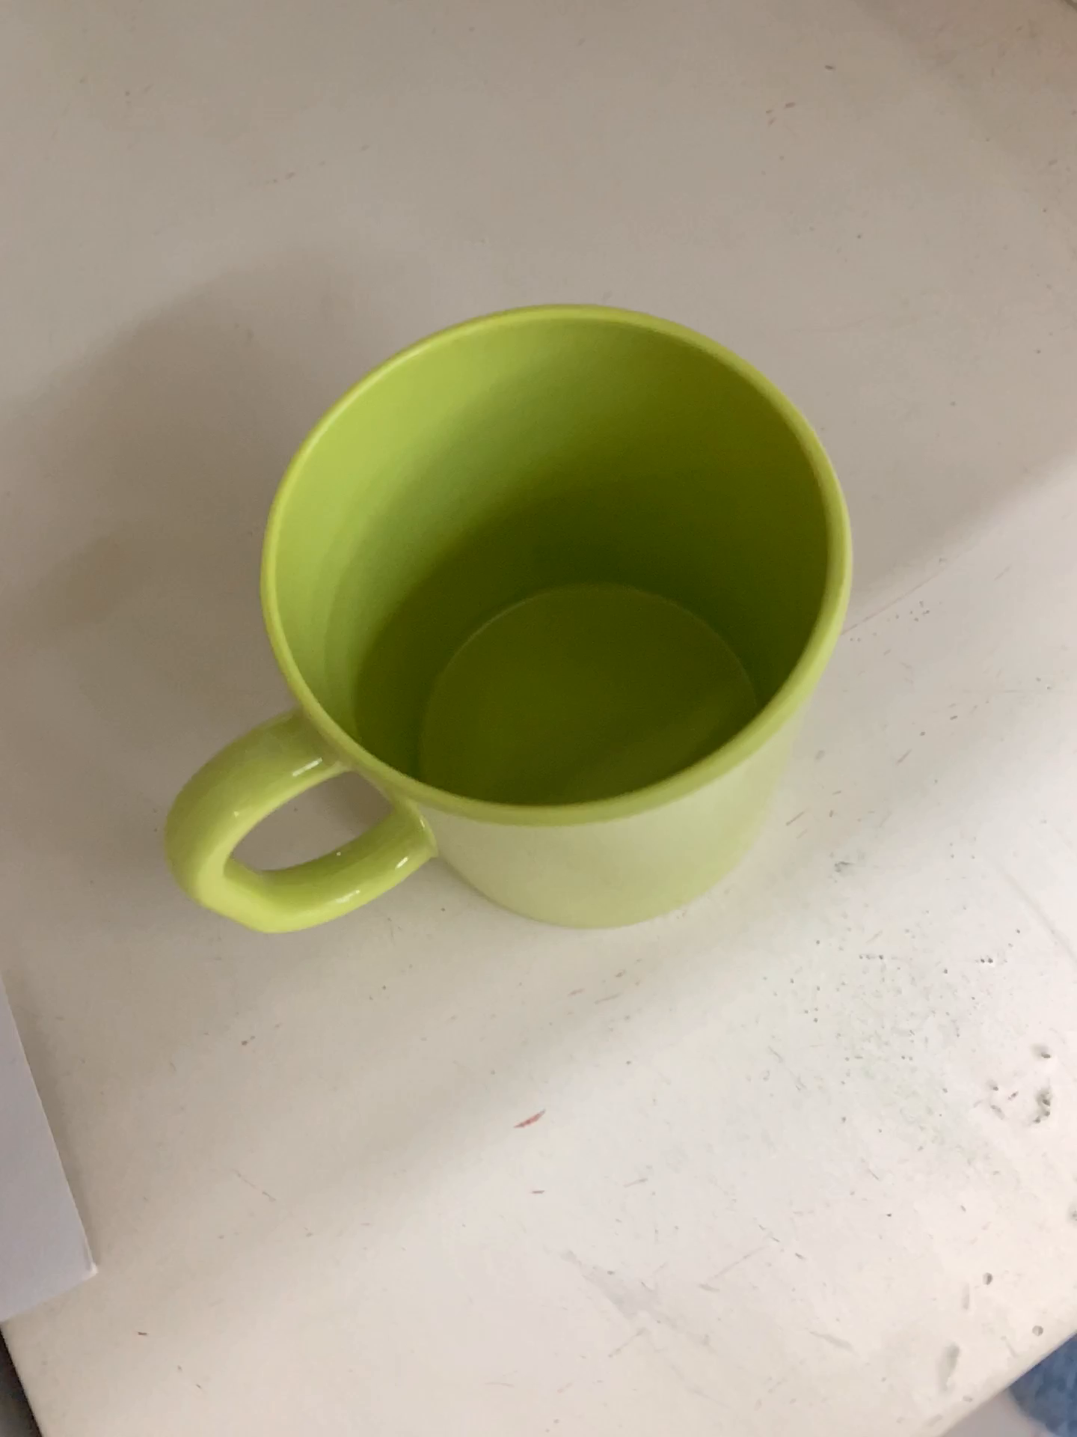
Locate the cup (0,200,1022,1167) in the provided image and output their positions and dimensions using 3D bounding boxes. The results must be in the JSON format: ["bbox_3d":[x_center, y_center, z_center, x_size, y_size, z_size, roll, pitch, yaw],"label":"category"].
[{"bbox_3d":[-0.003,-0.002,0.156,0.089,0.063,0.077,-41,68,-9],"label":"cup"}]
